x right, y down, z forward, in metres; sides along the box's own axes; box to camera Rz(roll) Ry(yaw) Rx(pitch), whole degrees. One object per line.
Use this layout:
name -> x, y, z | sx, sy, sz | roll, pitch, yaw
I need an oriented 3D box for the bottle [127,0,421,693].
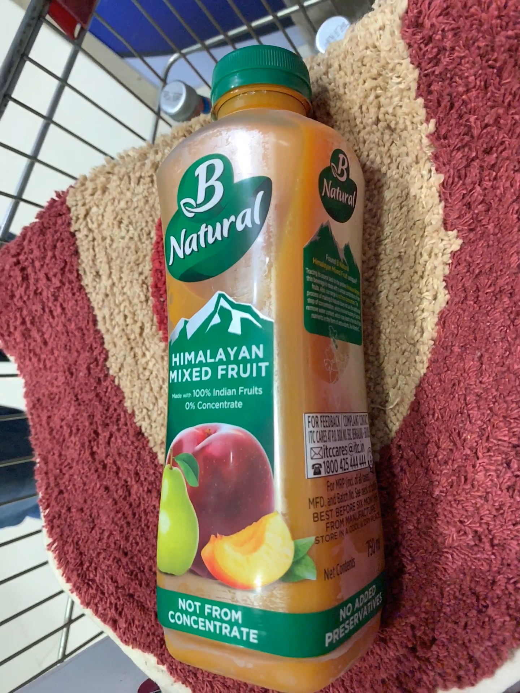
bottle -> 0.011, -0.010, 0.196 | 0.070, 0.070, 0.230 | -4, 79, 32
